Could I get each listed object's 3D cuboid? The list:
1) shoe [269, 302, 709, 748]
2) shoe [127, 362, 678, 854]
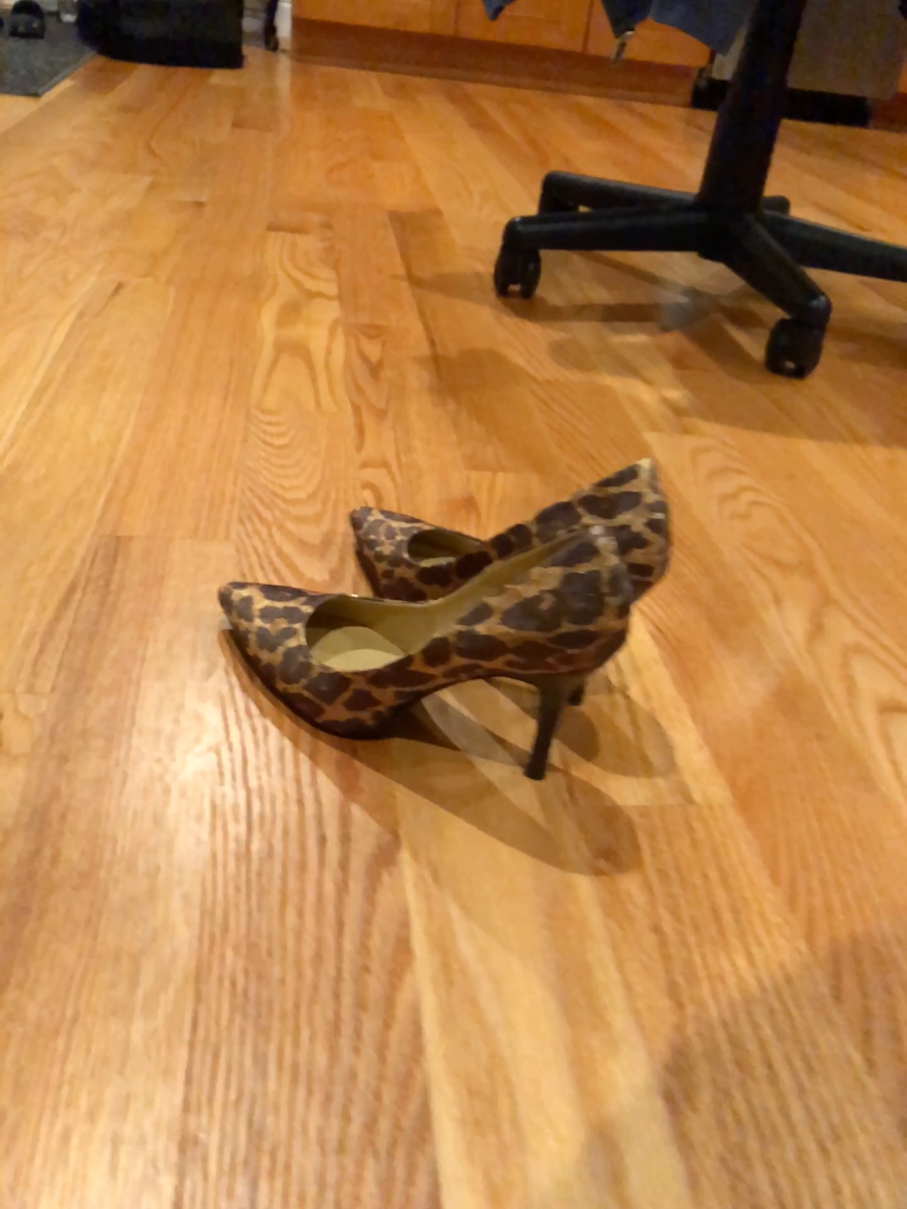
[{"bbox_3d":[0.002,-0.054,0.524,0.076,0.135,0.228,-22,43,-38],"label":"shoe"},{"bbox_3d":[-0.033,-0.006,0.460,0.227,0.136,0.076,22,35,20],"label":"shoe"}]
